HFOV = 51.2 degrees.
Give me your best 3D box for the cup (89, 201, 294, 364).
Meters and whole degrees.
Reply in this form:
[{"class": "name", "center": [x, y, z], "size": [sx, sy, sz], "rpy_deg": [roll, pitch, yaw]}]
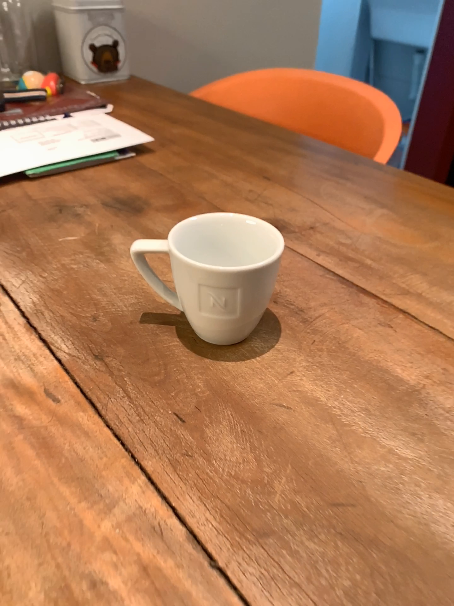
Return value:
[{"class": "cup", "center": [-0.016, -0.014, 0.257], "size": [0.090, 0.050, 0.060], "rpy_deg": [10, 36, 12]}]
